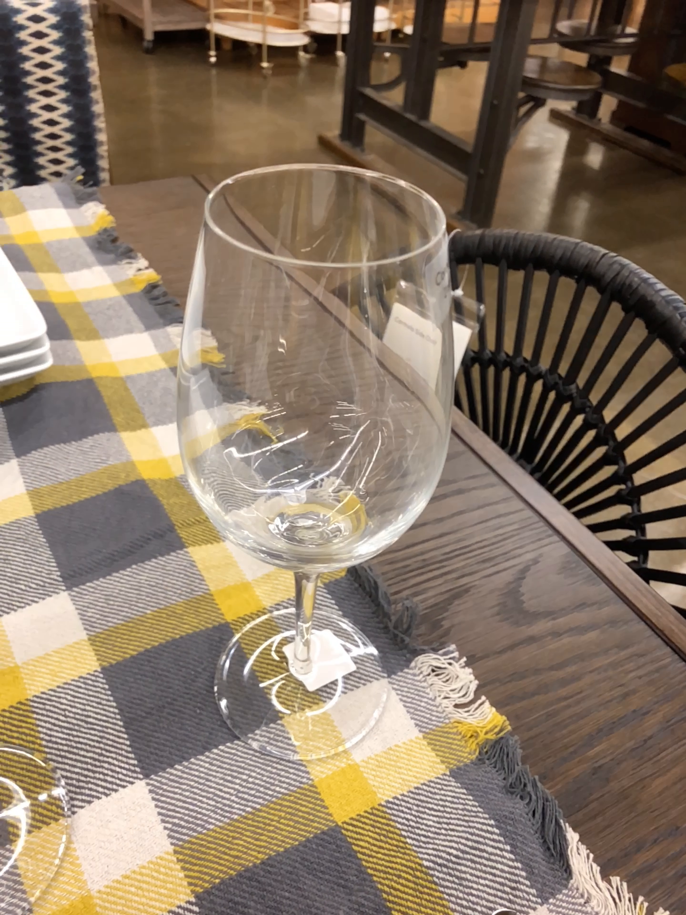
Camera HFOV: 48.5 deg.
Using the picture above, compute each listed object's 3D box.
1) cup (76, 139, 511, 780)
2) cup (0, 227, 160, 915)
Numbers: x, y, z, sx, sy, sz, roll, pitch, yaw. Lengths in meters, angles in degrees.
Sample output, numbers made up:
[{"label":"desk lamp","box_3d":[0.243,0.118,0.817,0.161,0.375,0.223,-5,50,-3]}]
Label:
[{"label":"cup","box_3d":[-0.011,0.010,0.262,0.096,0.192,0.093,3,40,-2]},{"label":"cup","box_3d":[-0.120,0.055,0.204,0.096,0.193,0.093,3,40,-2]}]
